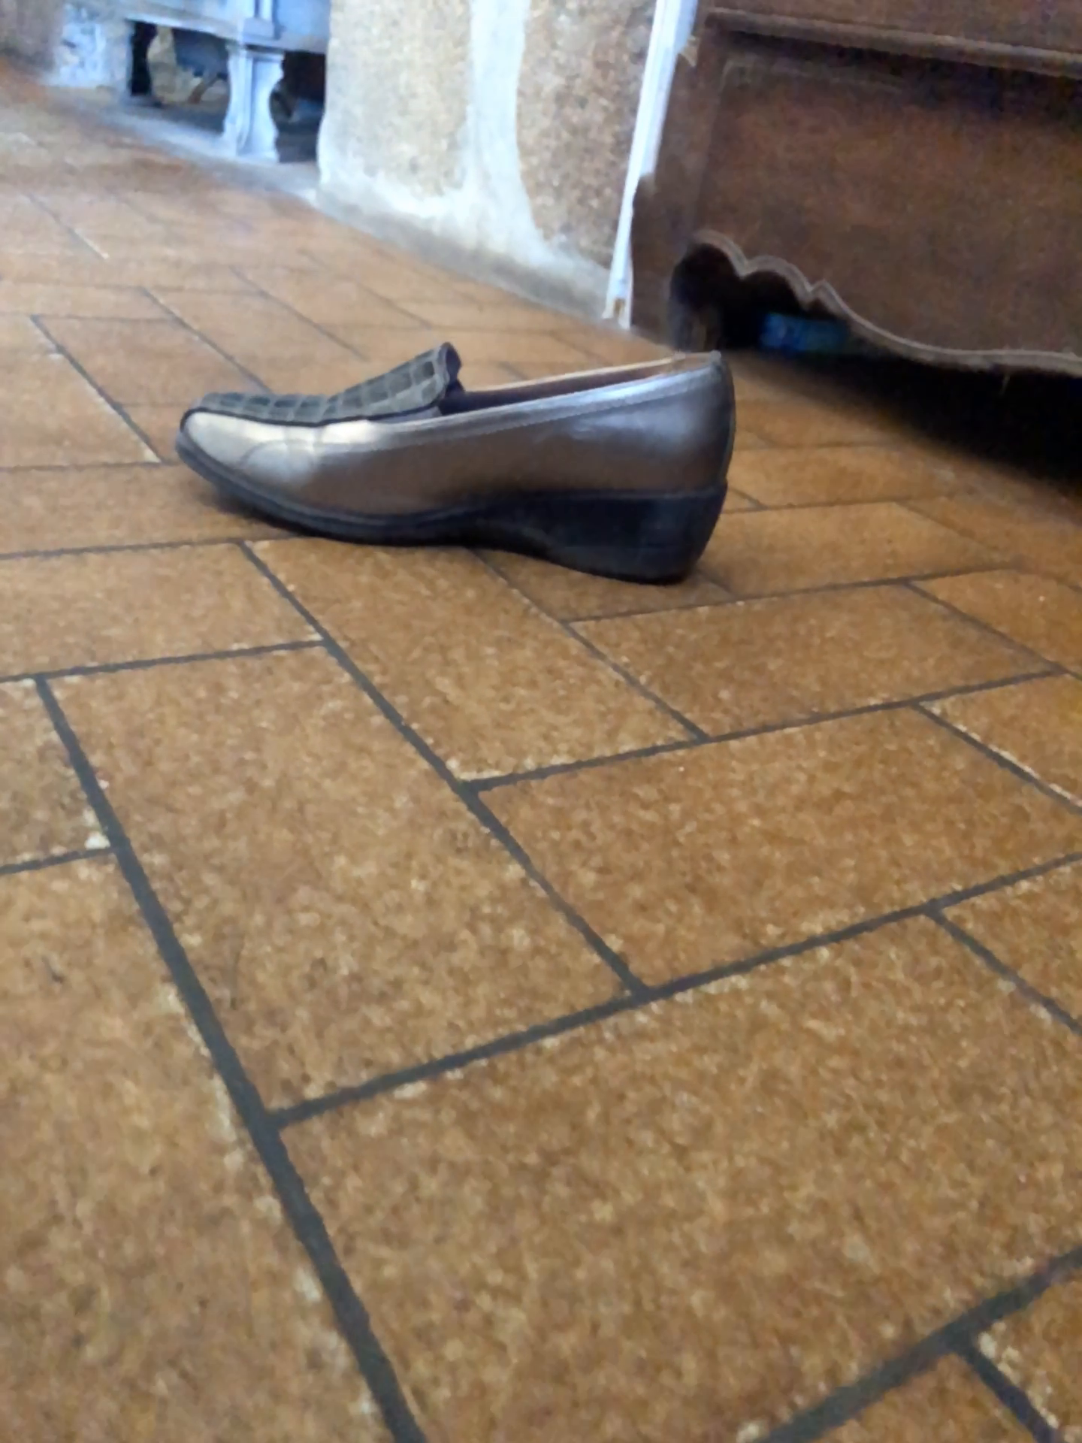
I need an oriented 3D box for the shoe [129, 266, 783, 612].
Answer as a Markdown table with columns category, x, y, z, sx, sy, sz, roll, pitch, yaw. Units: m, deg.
| category | x | y | z | sx | sy | sz | roll | pitch | yaw |
| --- | --- | --- | --- | --- | --- | --- | --- | --- | --- |
| shoe | -0.037 | -0.128 | 0.532 | 0.260 | 0.089 | 0.091 | 9 | 28 | -2 |
